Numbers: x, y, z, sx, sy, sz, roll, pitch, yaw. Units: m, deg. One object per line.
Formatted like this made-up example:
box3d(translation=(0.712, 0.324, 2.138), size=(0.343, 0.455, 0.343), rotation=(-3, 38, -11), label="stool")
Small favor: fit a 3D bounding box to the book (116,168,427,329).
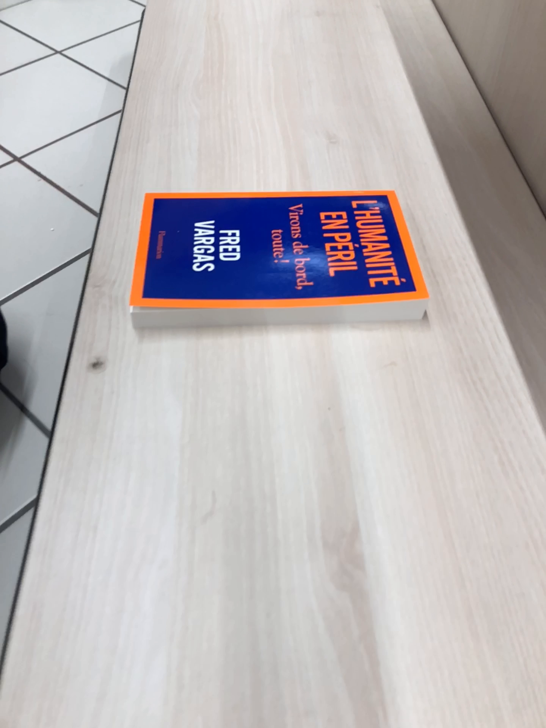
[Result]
box3d(translation=(-0.004, -0.092, 0.447), size=(0.207, 0.030, 0.138), rotation=(-2, 52, -4), label="book")
